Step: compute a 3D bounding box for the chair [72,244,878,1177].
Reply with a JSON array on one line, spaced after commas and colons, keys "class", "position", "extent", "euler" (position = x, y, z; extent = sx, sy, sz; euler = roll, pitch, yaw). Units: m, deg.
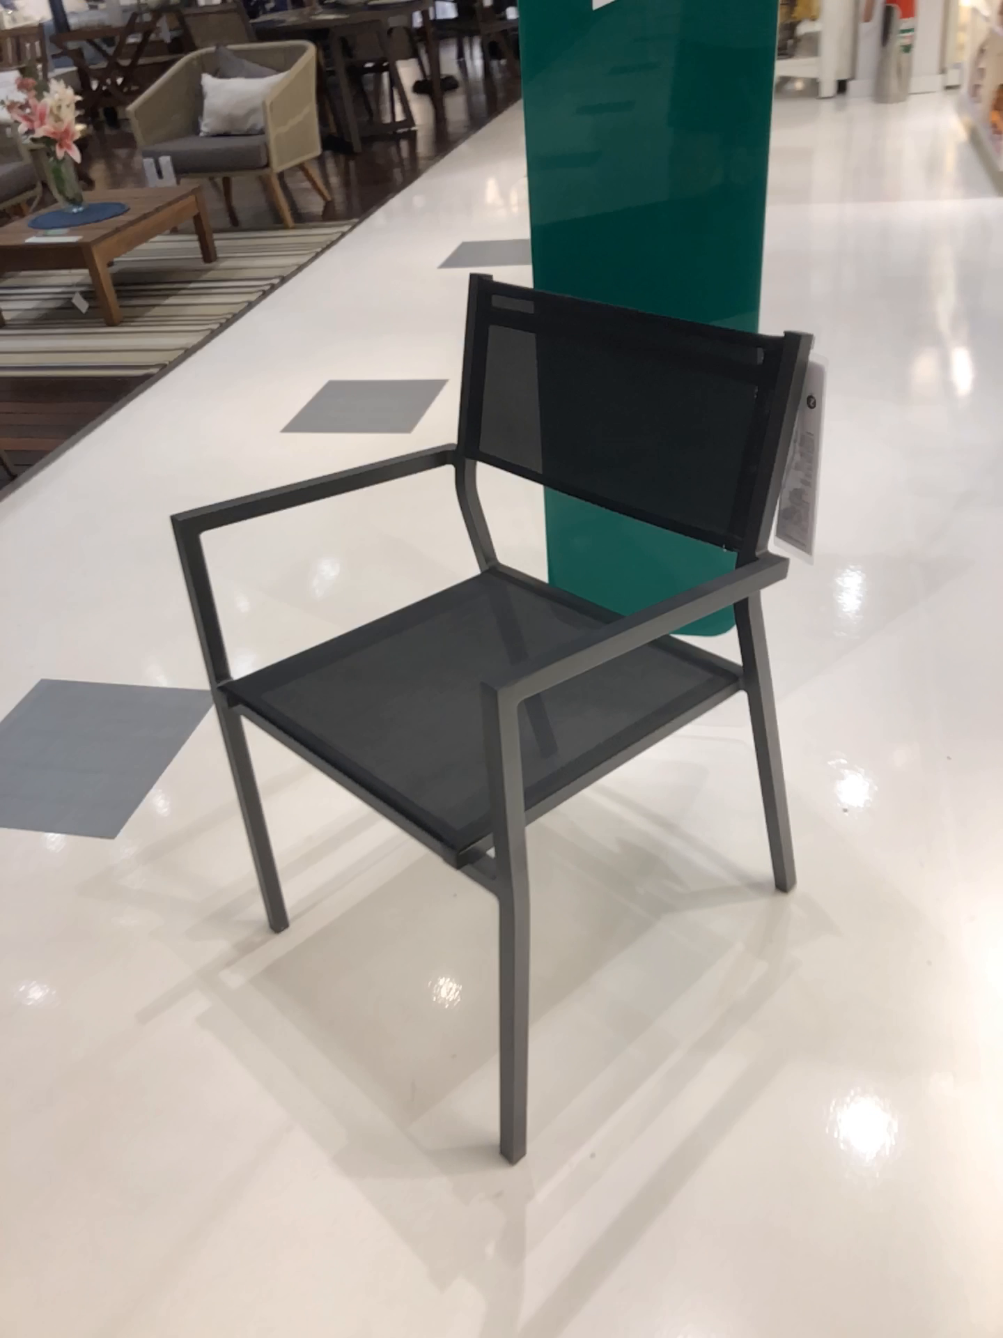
[{"class": "chair", "position": [0.005, -0.002, 1.339], "extent": [0.602, 0.794, 0.573], "euler": [-31, 40, -31]}]
